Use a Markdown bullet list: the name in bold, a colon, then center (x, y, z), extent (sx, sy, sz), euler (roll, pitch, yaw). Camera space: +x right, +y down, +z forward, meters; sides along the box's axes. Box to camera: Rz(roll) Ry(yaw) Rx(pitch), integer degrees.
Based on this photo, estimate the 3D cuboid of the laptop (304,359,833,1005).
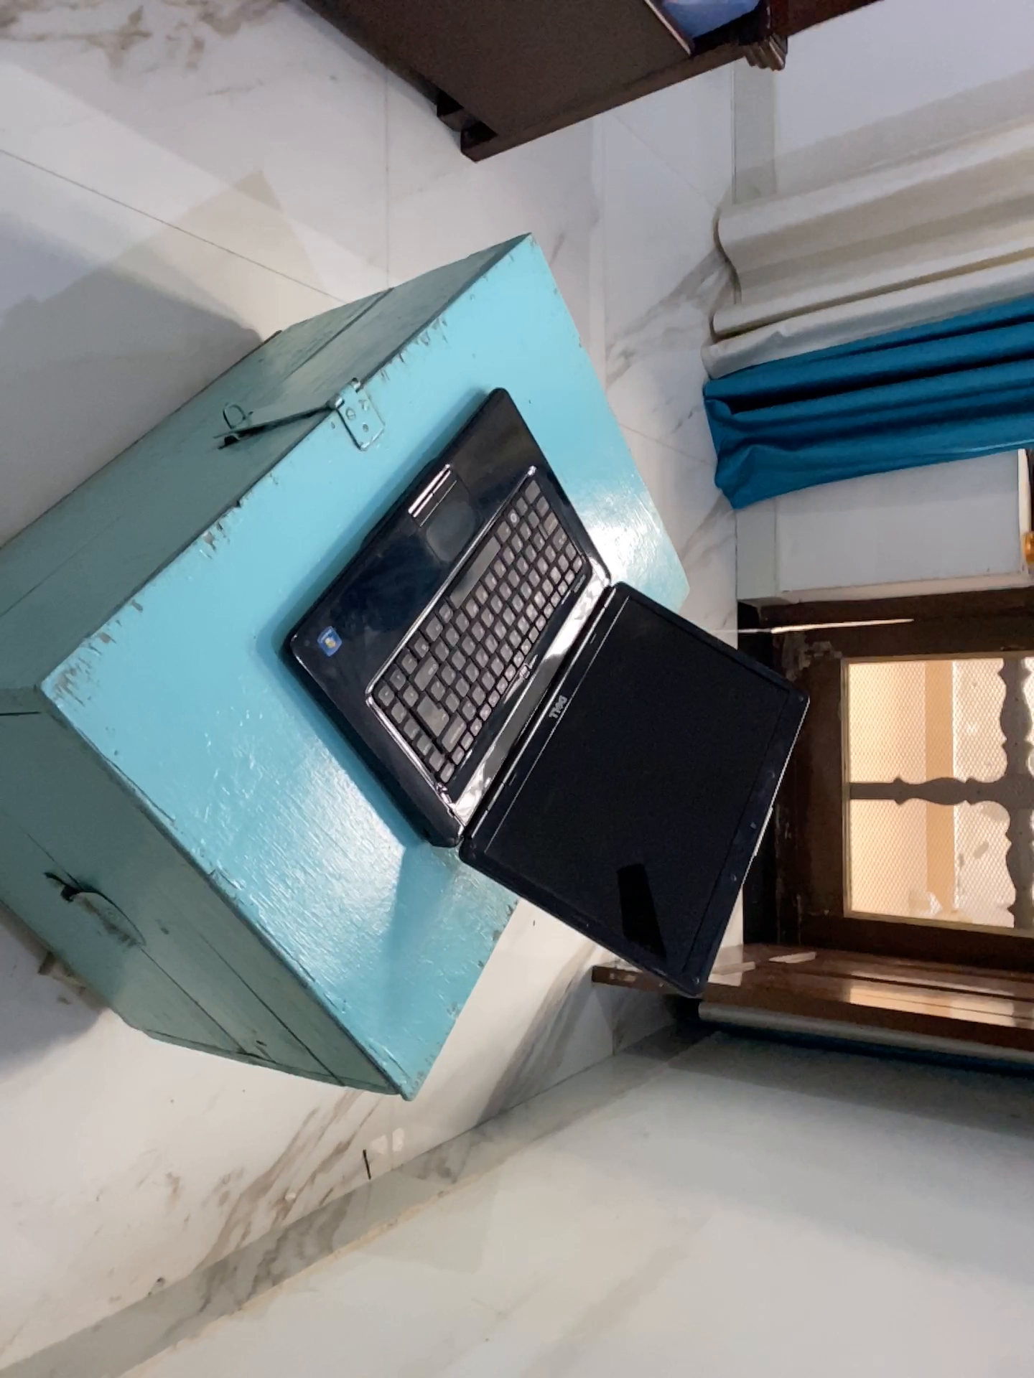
- **laptop**: center (0.087, -0.006, 0.932), extent (0.413, 0.162, 0.364), euler (56, 47, -30)
